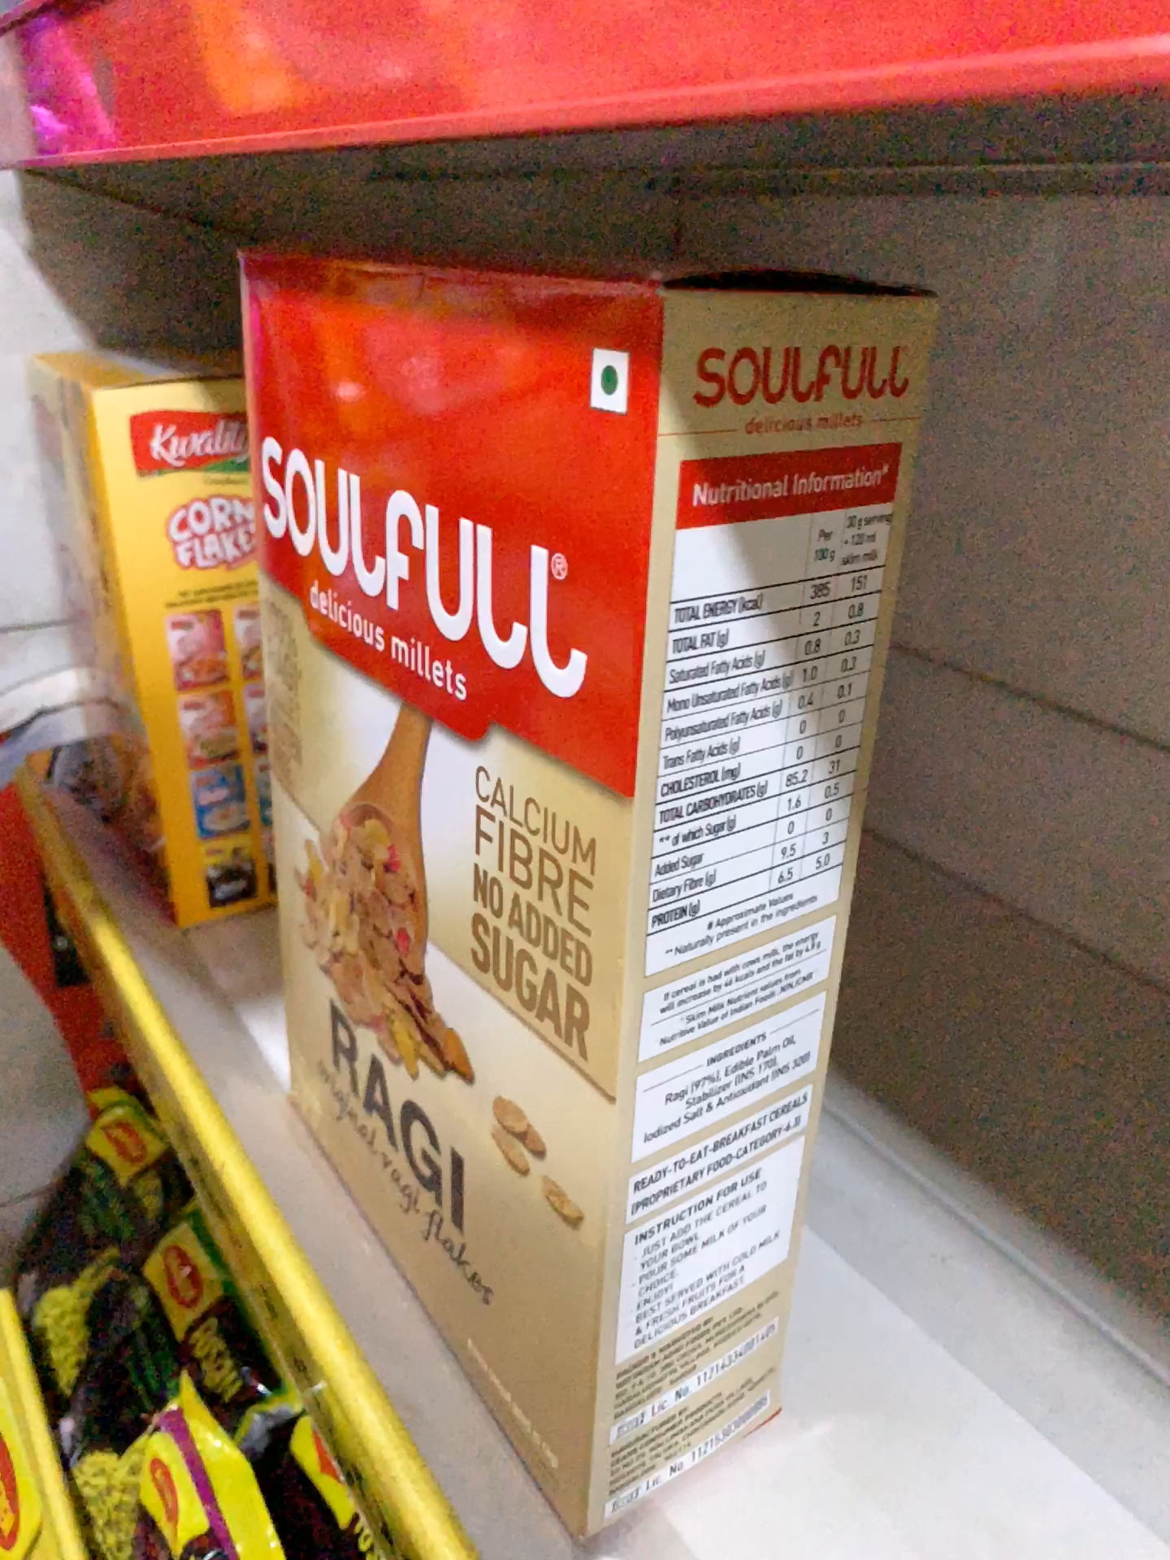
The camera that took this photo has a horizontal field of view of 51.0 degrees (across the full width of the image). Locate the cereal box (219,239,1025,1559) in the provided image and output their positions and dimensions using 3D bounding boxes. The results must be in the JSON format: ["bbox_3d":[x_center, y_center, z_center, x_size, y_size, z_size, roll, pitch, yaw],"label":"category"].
[{"bbox_3d":[-0.015,0.019,0.272,0.060,0.248,0.171,-12,27,-32],"label":"cereal box"}]
